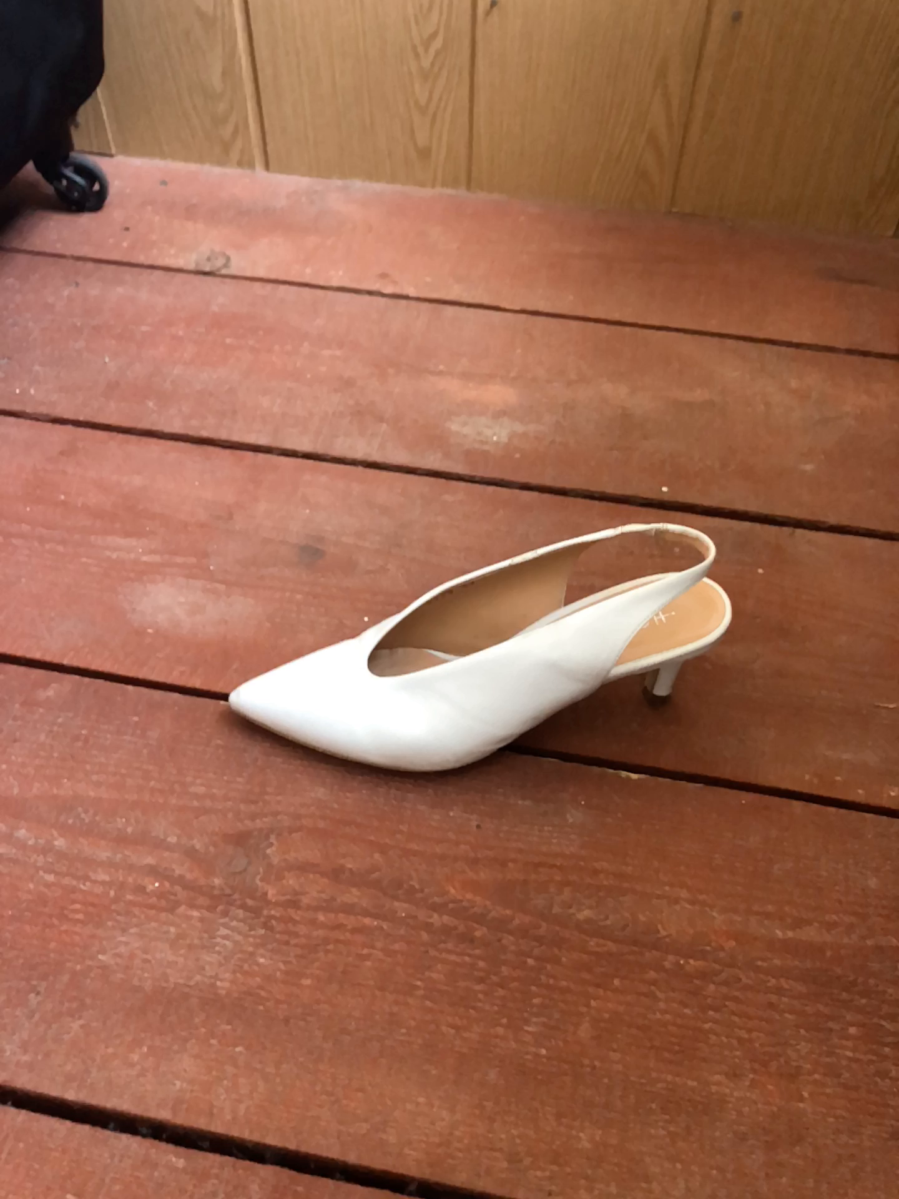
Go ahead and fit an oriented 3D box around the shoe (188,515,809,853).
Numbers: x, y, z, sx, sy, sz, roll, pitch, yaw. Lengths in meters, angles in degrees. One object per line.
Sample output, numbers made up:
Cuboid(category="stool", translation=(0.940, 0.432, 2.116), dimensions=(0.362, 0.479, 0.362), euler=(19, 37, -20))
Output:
Cuboid(category="shoe", translation=(0.016, 0.035, 0.445), dimensions=(0.240, 0.080, 0.100), euler=(-5, 48, -5))
